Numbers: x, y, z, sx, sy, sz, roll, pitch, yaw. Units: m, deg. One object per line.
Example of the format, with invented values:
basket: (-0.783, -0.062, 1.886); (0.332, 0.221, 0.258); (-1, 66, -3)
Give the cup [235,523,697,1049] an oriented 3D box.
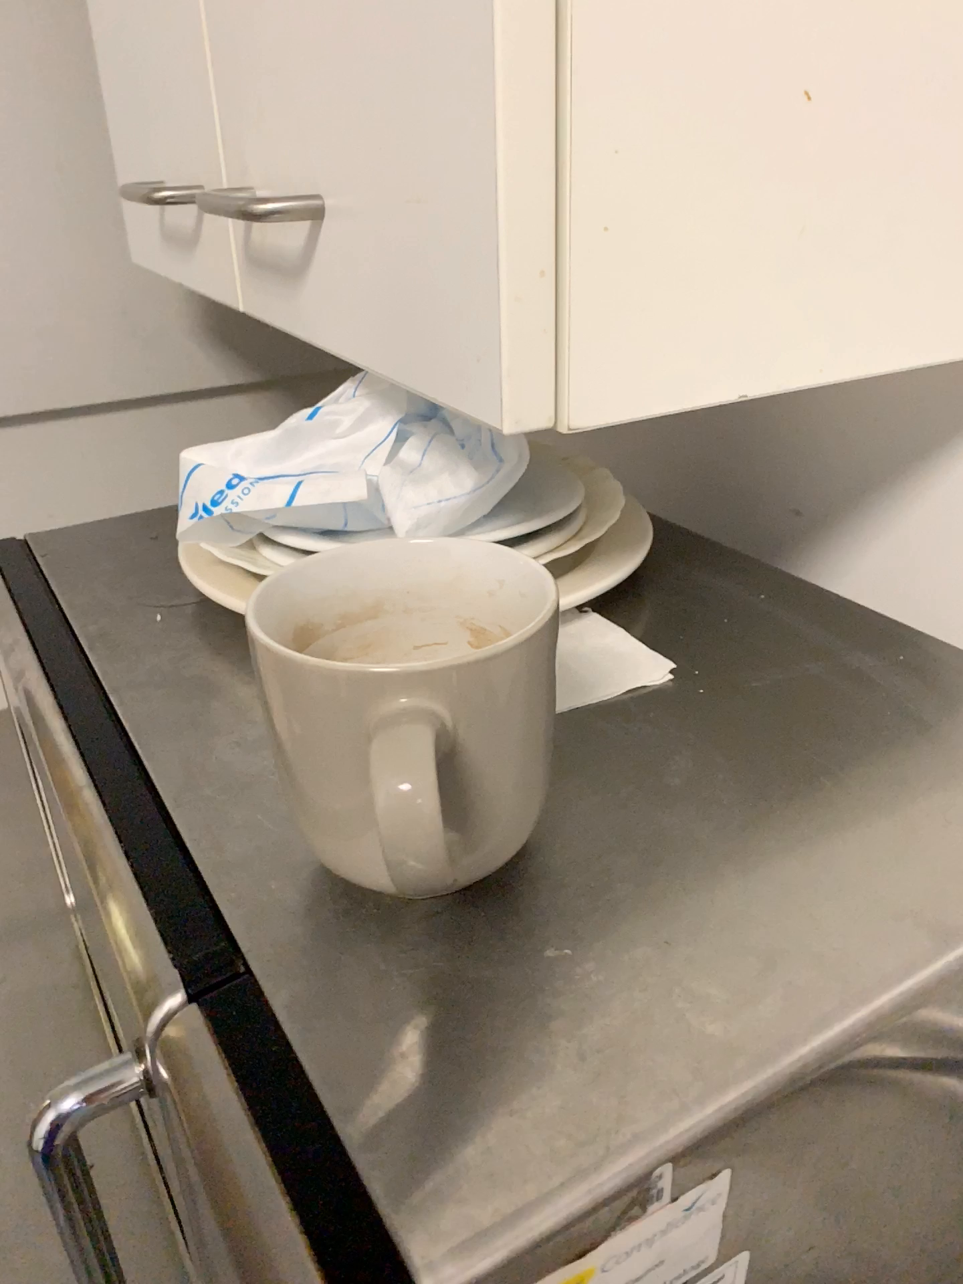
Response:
cup: (-0.014, 0.029, 0.285); (0.101, 0.079, 0.125); (-7, 27, -11)
